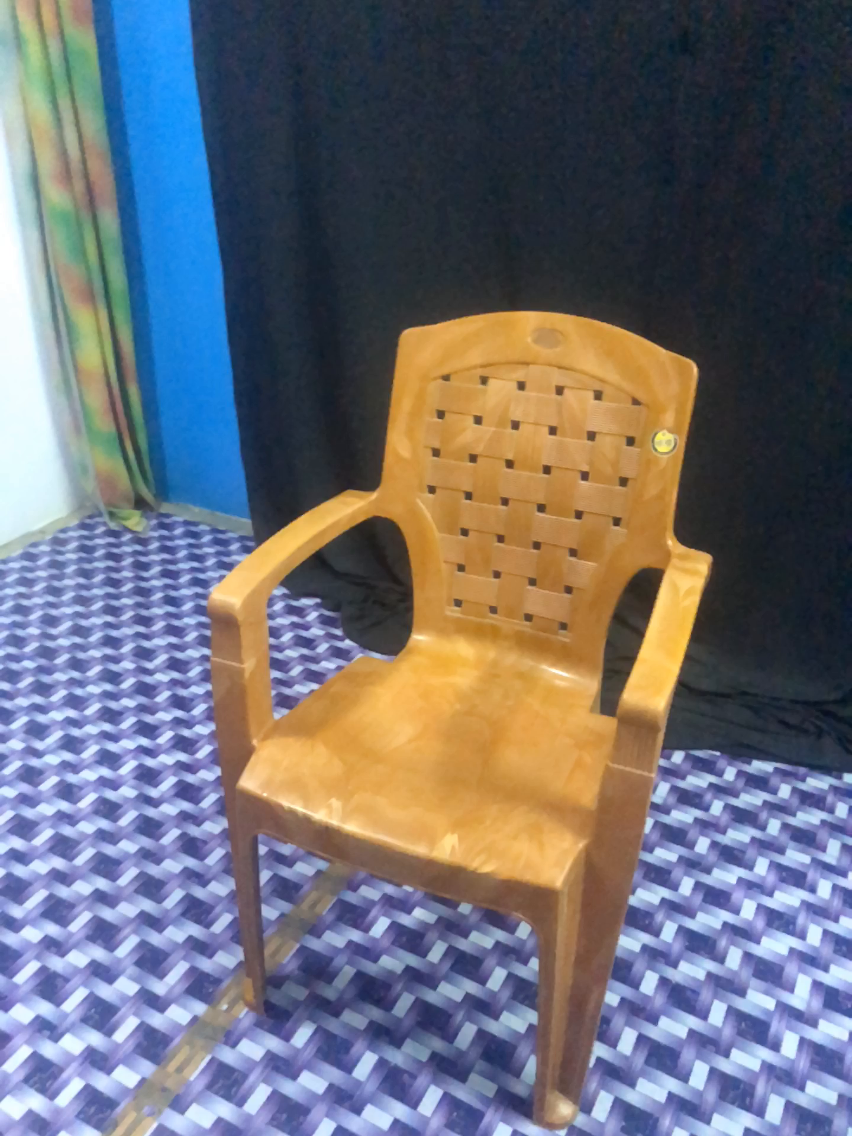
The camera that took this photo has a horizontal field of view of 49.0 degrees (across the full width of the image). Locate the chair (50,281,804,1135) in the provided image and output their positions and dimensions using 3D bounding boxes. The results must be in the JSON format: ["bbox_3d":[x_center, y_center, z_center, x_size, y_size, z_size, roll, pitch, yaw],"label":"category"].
[{"bbox_3d":[0.058,0.124,1.208,0.600,0.786,0.664,13,31,22],"label":"chair"}]
